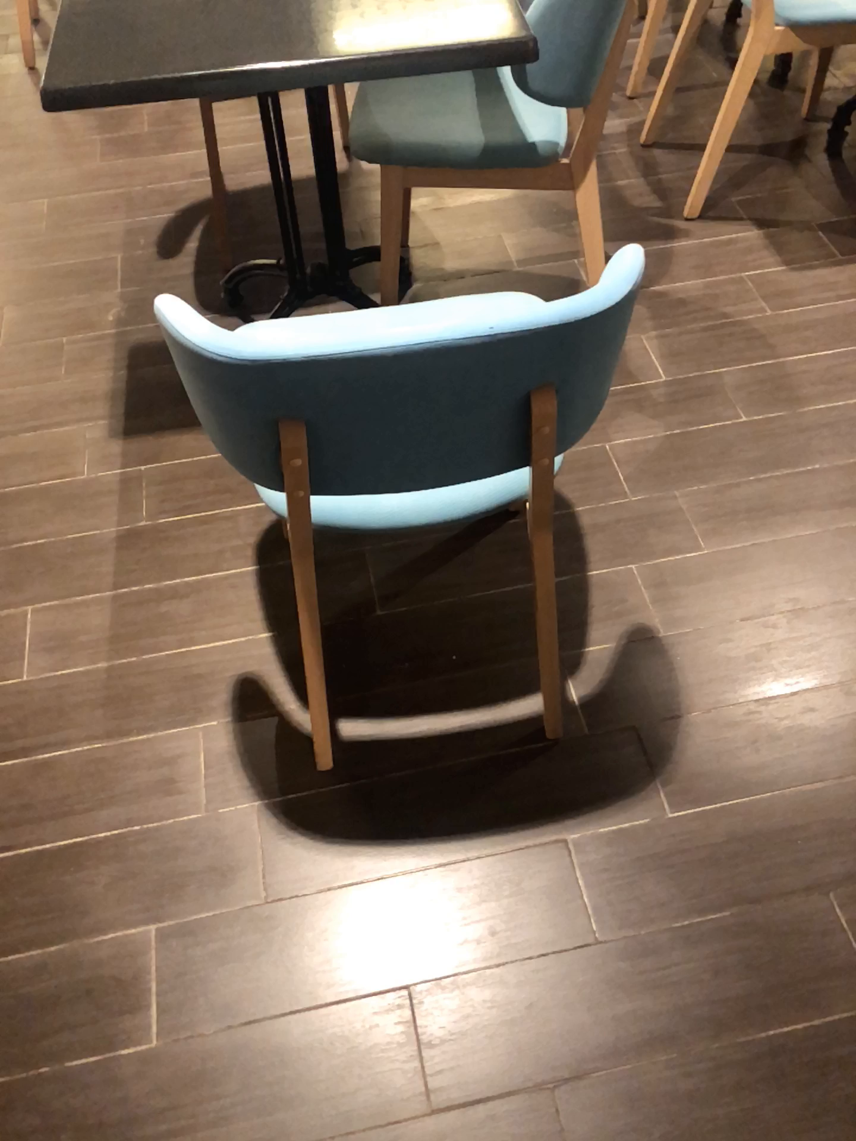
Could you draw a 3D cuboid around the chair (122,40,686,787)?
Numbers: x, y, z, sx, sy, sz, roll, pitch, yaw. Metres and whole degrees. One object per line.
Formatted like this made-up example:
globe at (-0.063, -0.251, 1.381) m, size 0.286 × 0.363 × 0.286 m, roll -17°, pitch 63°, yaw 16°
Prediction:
chair at (-0.039, -0.152, 1.269) m, size 0.480 × 0.817 × 0.512 m, roll -7°, pitch 52°, yaw -3°
